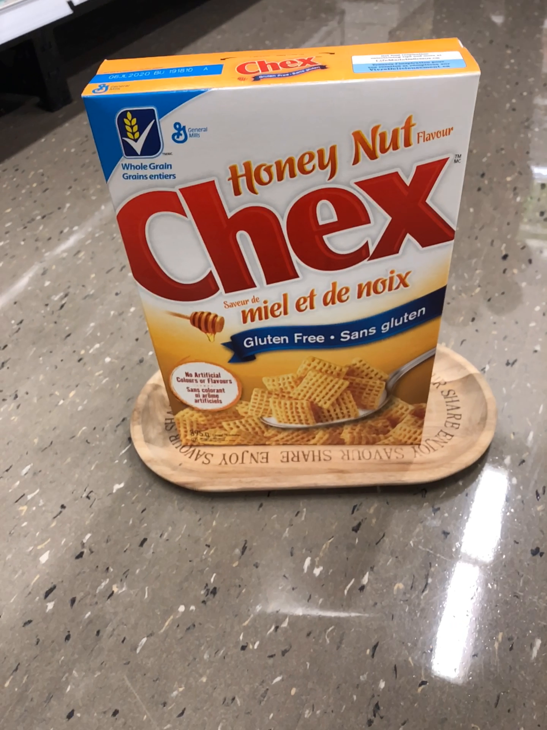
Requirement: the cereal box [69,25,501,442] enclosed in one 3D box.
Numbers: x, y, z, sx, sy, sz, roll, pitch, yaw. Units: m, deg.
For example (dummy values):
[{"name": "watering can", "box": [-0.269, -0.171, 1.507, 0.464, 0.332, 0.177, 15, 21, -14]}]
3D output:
[{"name": "cereal box", "box": [0.014, -0.061, 0.414, 0.210, 0.279, 0.060, -1, 44, 5]}]
